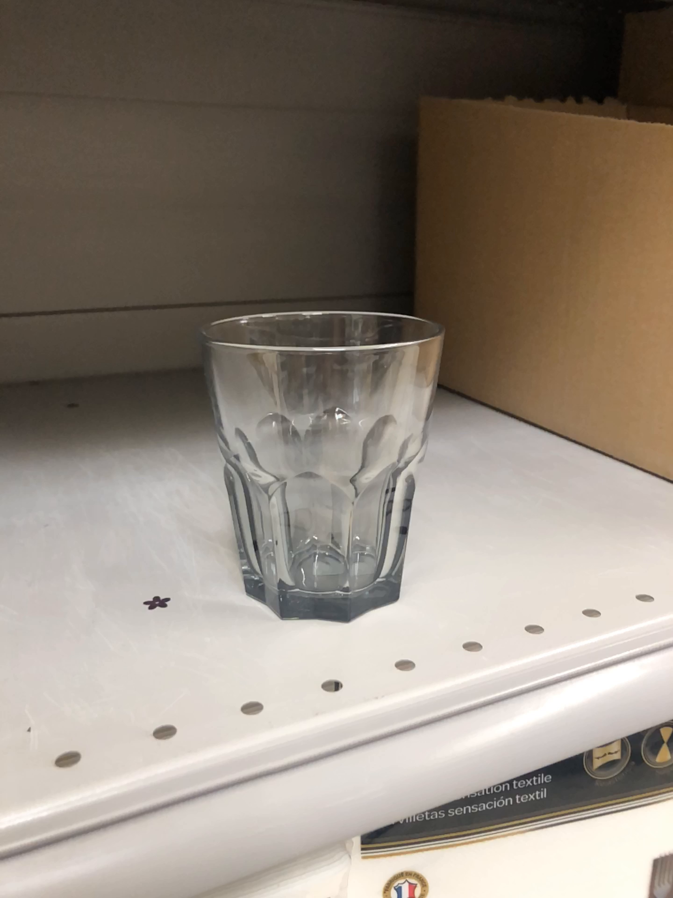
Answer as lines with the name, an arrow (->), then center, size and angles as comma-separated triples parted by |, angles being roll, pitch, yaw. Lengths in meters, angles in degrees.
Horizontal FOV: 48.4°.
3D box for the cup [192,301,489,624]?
cup -> 0.003, -0.001, 0.268 | 0.085, 0.092, 0.083 | 0, 17, 0
